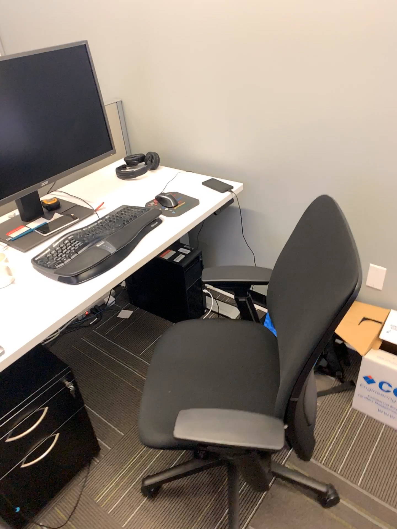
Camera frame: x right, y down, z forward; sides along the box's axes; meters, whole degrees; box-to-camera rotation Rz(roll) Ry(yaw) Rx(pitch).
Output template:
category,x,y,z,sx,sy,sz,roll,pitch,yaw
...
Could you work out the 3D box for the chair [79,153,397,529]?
category,x,y,z,sx,sy,sz,roll,pitch,yaw
chair,0.113,0.245,1.380,0.610,0.945,0.834,-2,35,3
